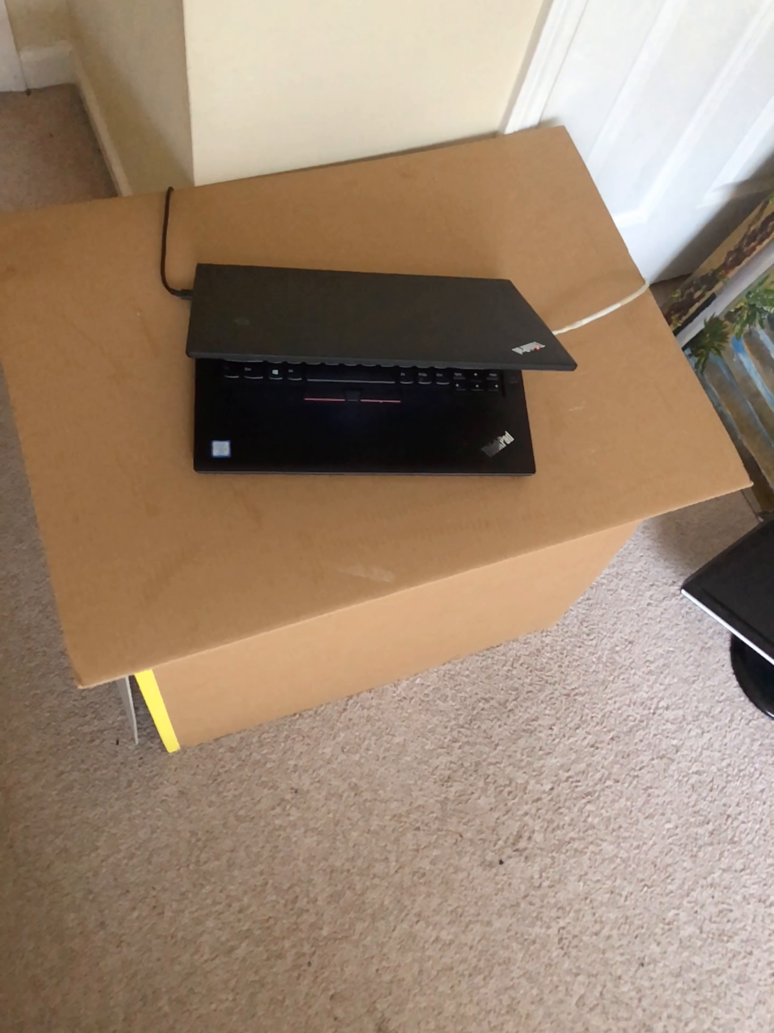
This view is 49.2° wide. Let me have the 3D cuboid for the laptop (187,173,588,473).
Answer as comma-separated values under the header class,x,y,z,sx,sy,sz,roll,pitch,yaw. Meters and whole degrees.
class,x,y,z,sx,sy,sz,roll,pitch,yaw
laptop,-0.010,-0.175,0.803,0.334,0.140,0.232,0,66,-10
